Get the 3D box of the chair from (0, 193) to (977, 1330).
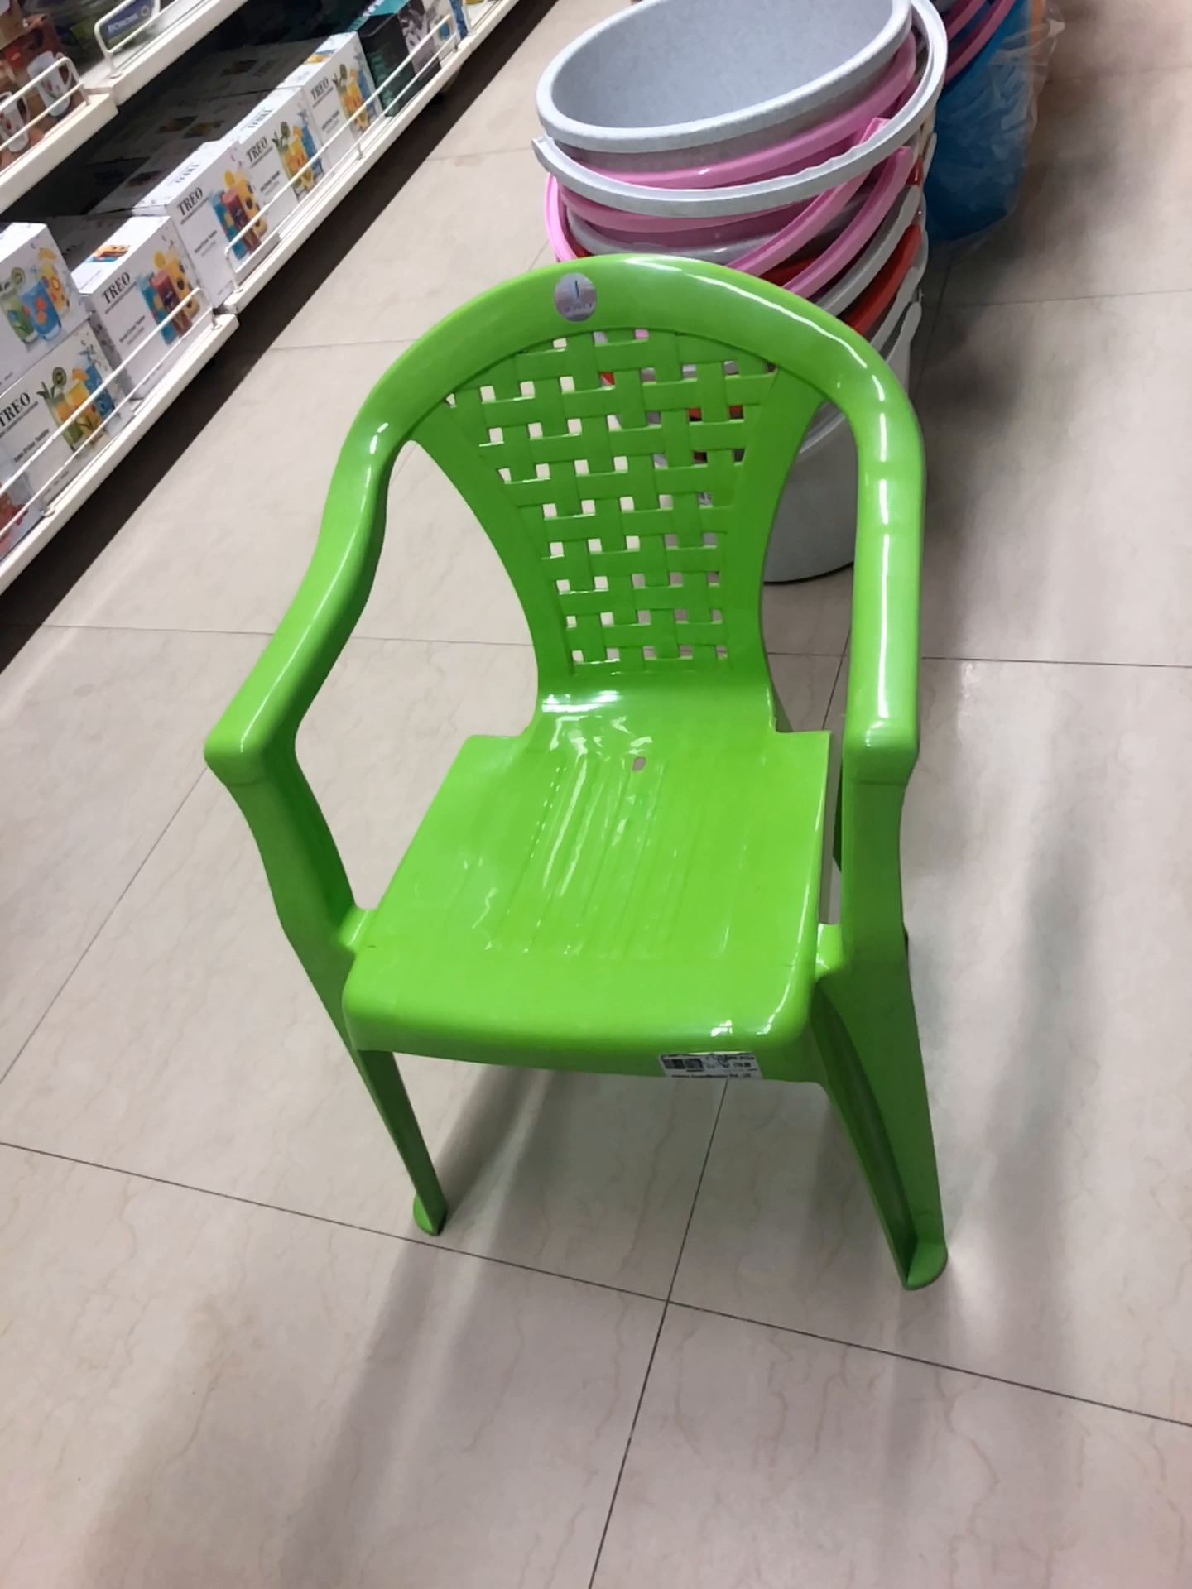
[{"bbox_3d":[0.008,0.018,0.727,0.361,0.517,0.312,1,49,20],"label":"chair"}]
